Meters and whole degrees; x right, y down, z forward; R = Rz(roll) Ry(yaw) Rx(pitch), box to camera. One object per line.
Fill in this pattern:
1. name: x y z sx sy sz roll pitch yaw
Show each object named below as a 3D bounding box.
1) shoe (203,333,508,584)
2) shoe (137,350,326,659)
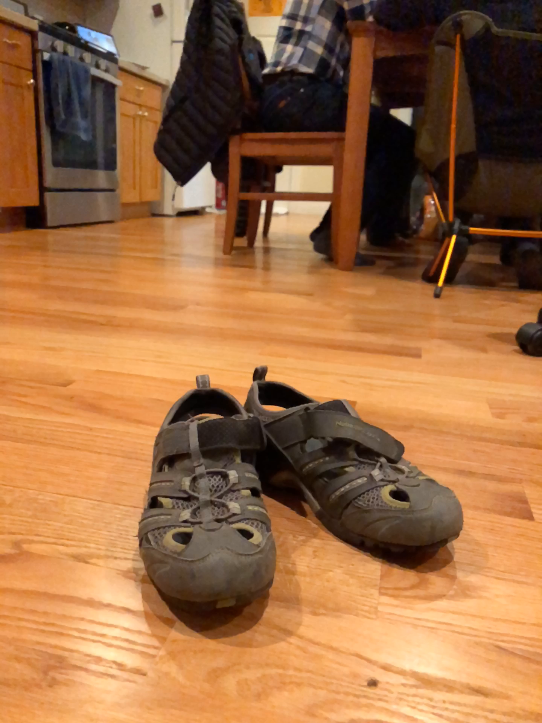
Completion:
1. shoe: 0.056 0.062 0.517 0.100 0.113 0.245 -11 21 -41
2. shoe: -0.048 0.079 0.450 0.100 0.113 0.246 -1 16 -13
